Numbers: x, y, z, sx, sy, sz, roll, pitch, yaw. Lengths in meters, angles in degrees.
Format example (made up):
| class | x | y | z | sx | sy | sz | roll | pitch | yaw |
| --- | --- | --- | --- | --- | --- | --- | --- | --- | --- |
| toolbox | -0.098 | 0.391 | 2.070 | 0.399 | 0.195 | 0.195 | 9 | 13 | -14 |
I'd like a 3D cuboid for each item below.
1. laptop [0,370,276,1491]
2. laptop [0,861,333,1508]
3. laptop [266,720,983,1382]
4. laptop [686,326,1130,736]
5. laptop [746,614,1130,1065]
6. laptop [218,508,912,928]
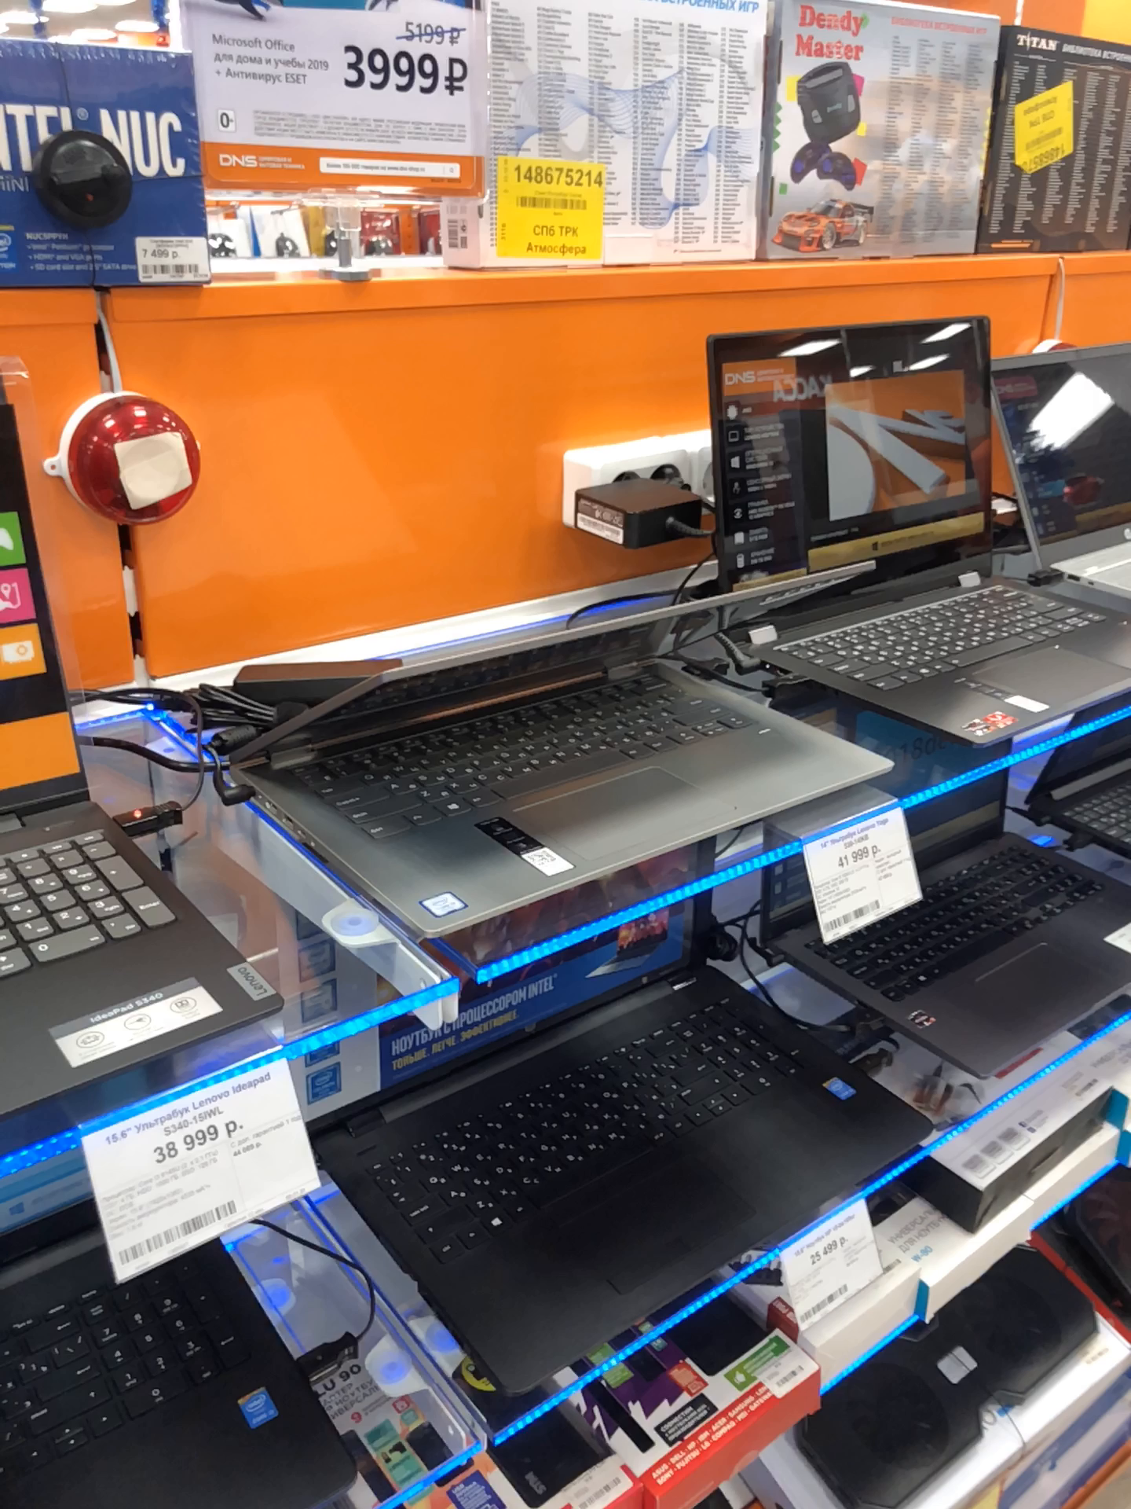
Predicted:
| class | x | y | z | sx | sy | sz | roll | pitch | yaw |
| --- | --- | --- | --- | --- | --- | --- | --- | --- | --- |
| laptop | -0.325 | -0.005 | 0.457 | 0.330 | 0.219 | 0.277 | -17 | 29 | -36 |
| laptop | -0.313 | 0.253 | 0.582 | 0.333 | 0.222 | 0.244 | -15 | 32 | -34 |
| laptop | 0.037 | 0.159 | 0.832 | 0.362 | 0.223 | 0.260 | -16 | 30 | -34 |
| laptop | 0.307 | -0.184 | 0.902 | 0.328 | 0.210 | 0.247 | -17 | 30 | -36 |
| laptop | 0.374 | 0.051 | 1.061 | 0.329 | 0.228 | 0.235 | -17 | 31 | -35 |
| laptop | 0.002 | -0.044 | 0.699 | 0.314 | 0.110 | 0.210 | -16 | 30 | -34 |
